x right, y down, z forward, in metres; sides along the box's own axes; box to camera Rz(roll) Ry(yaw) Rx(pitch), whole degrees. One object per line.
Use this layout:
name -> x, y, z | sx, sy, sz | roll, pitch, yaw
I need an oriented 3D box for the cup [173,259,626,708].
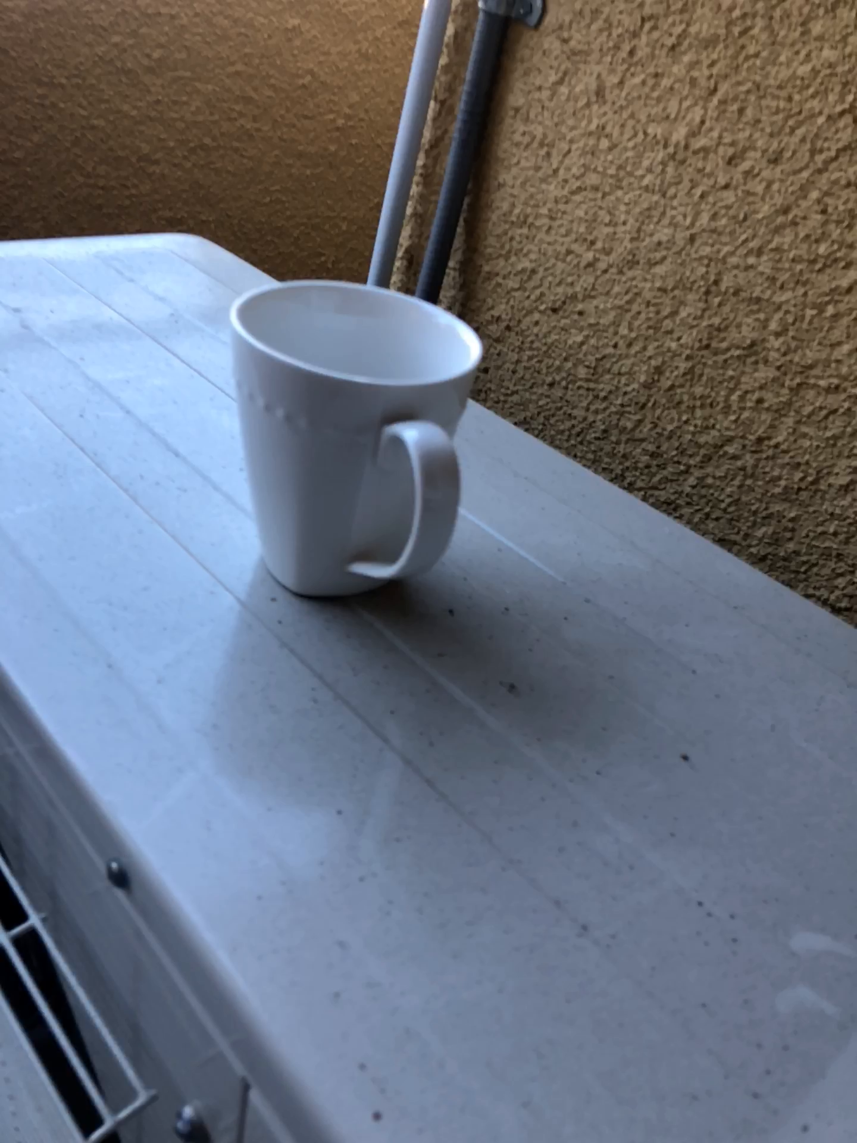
cup -> -0.022, -0.043, 0.355 | 0.100, 0.099, 0.141 | -10, 40, -31
